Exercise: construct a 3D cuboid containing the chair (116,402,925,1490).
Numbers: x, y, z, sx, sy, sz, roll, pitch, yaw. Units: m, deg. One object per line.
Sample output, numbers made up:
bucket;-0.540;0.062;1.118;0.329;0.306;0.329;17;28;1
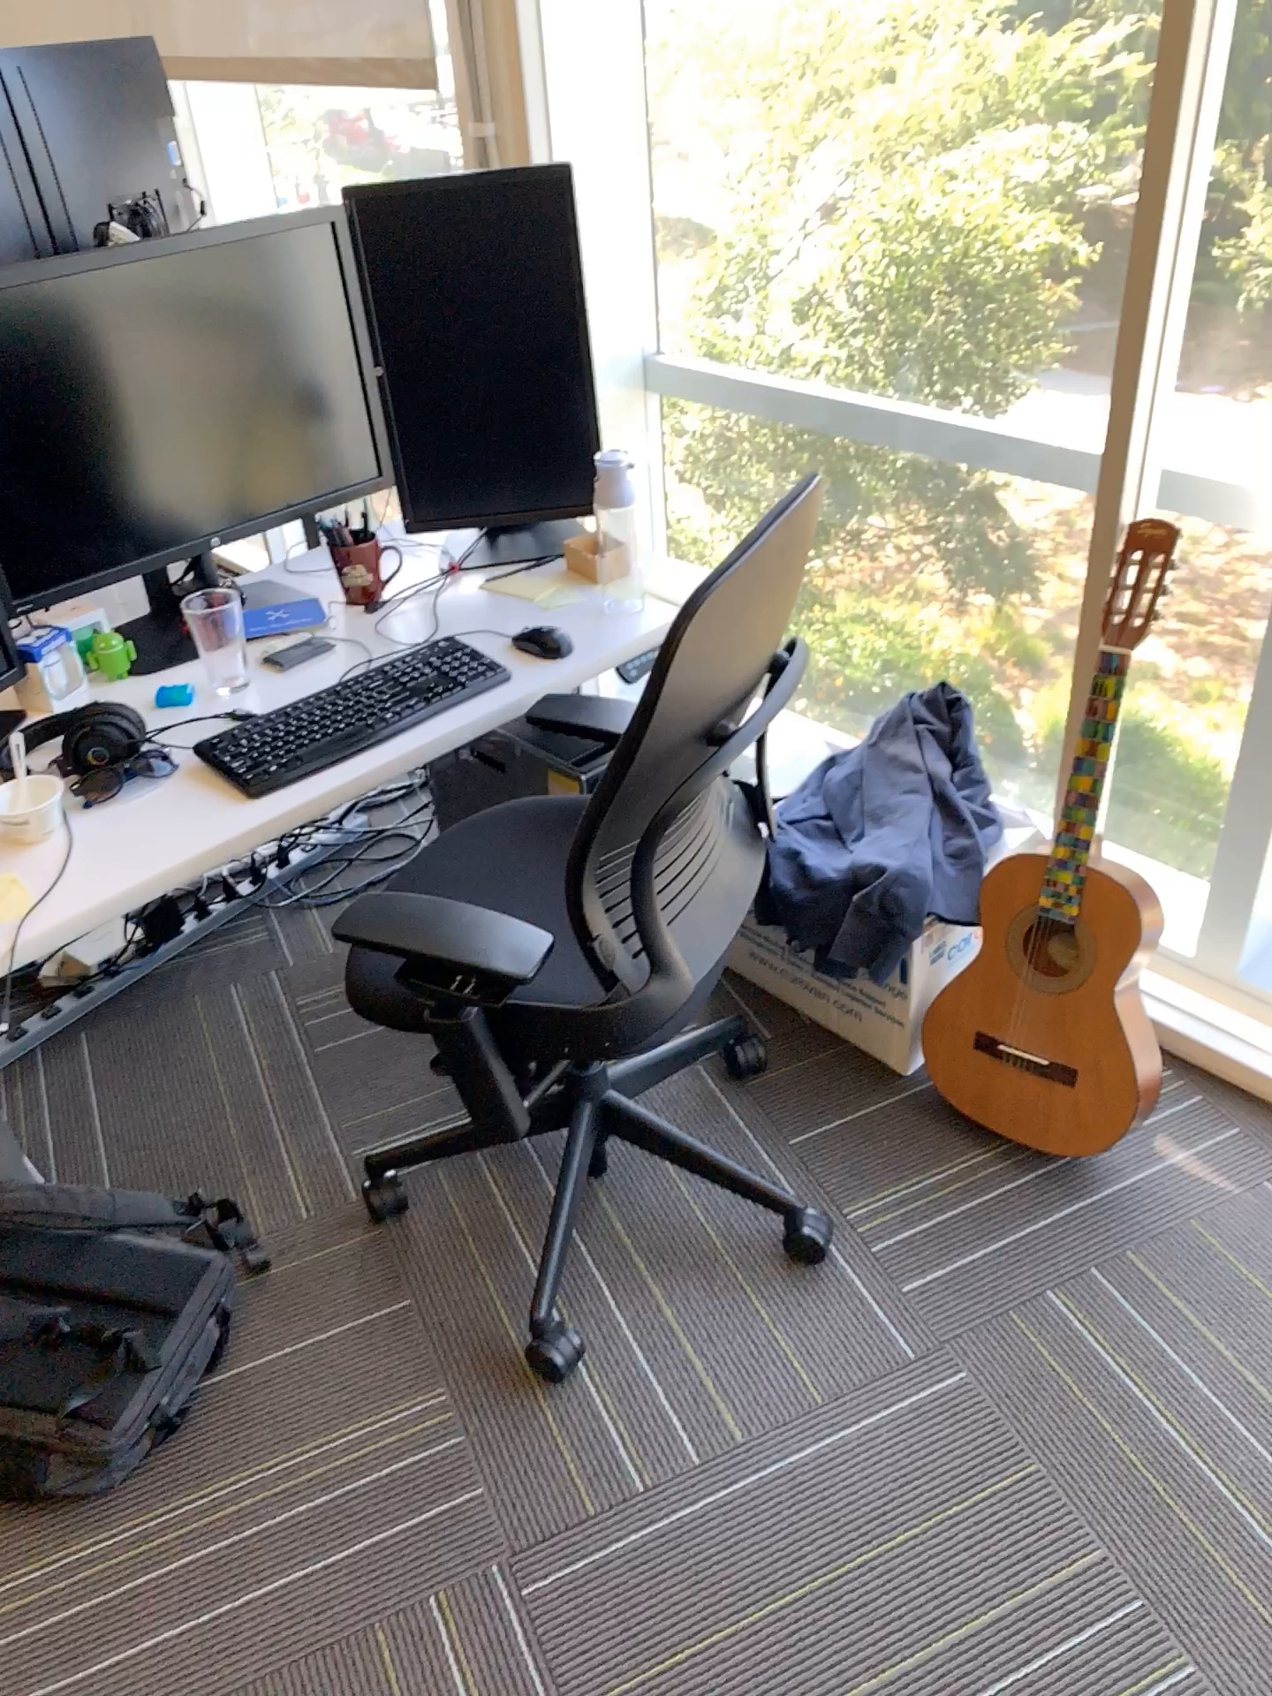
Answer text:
chair;-0.036;0.119;1.796;0.691;1.222;0.713;7;35;17
